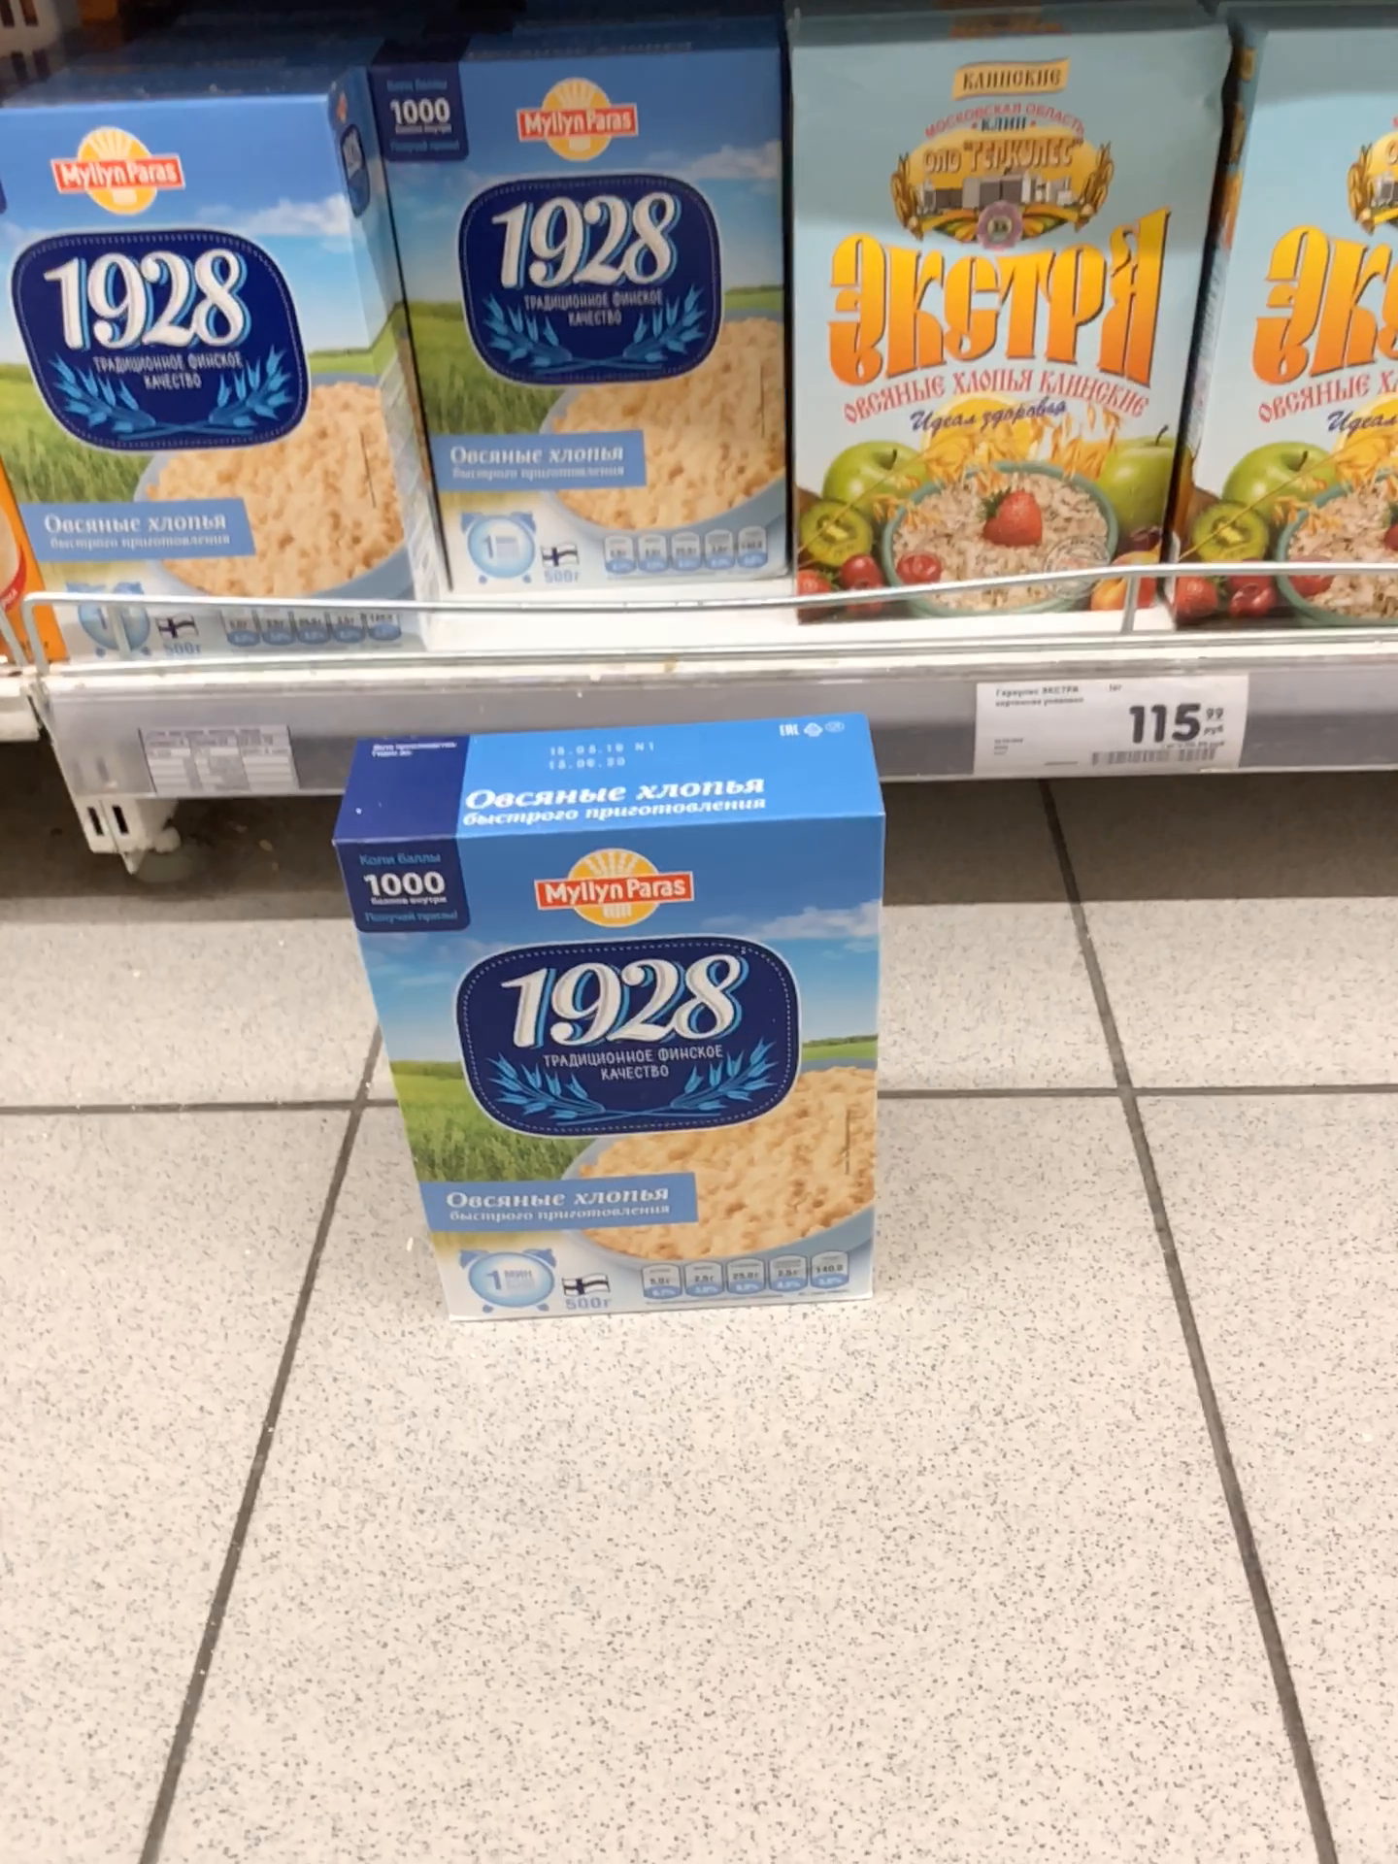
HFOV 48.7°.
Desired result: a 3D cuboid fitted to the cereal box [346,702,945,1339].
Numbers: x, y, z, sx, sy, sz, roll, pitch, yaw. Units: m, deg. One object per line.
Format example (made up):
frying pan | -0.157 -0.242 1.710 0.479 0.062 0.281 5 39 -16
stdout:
cereal box | -0.009 0.036 0.472 0.150 0.199 0.060 -3 40 1
